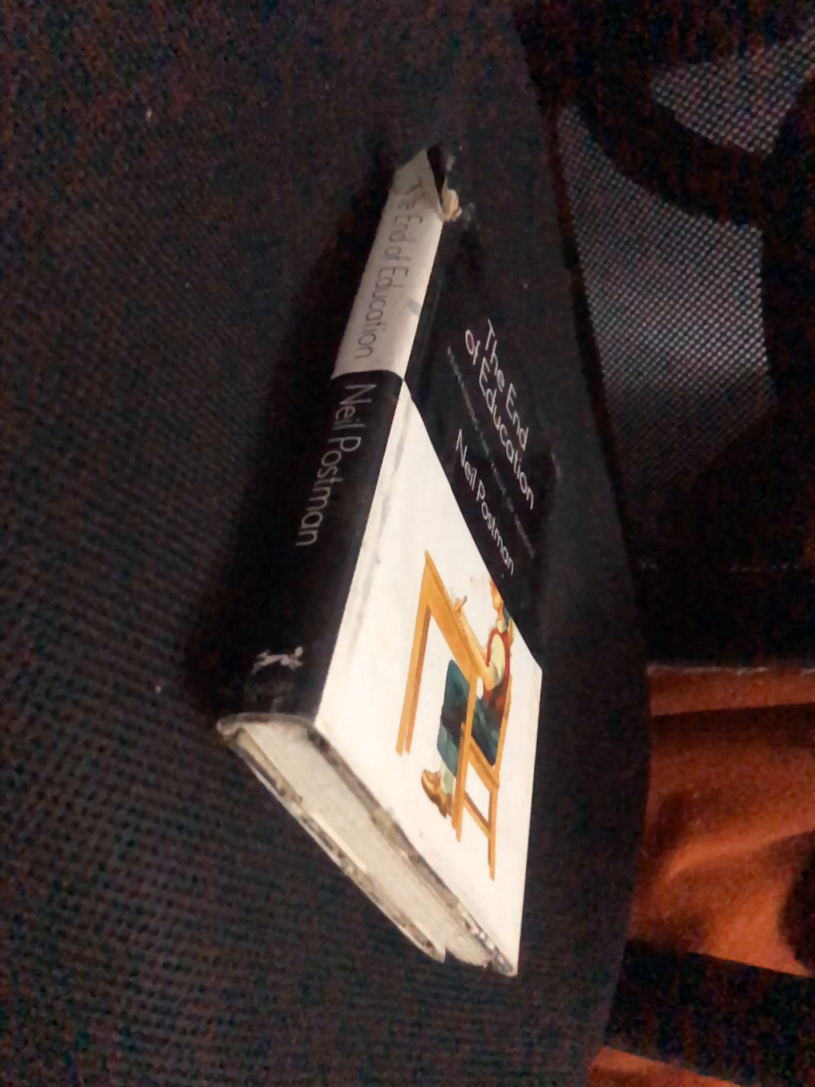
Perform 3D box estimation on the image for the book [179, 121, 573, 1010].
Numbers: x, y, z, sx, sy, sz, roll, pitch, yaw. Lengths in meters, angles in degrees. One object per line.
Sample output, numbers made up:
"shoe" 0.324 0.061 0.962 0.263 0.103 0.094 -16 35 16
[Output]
"book" 0.019 0.000 0.316 0.181 0.030 0.250 63 29 -43
